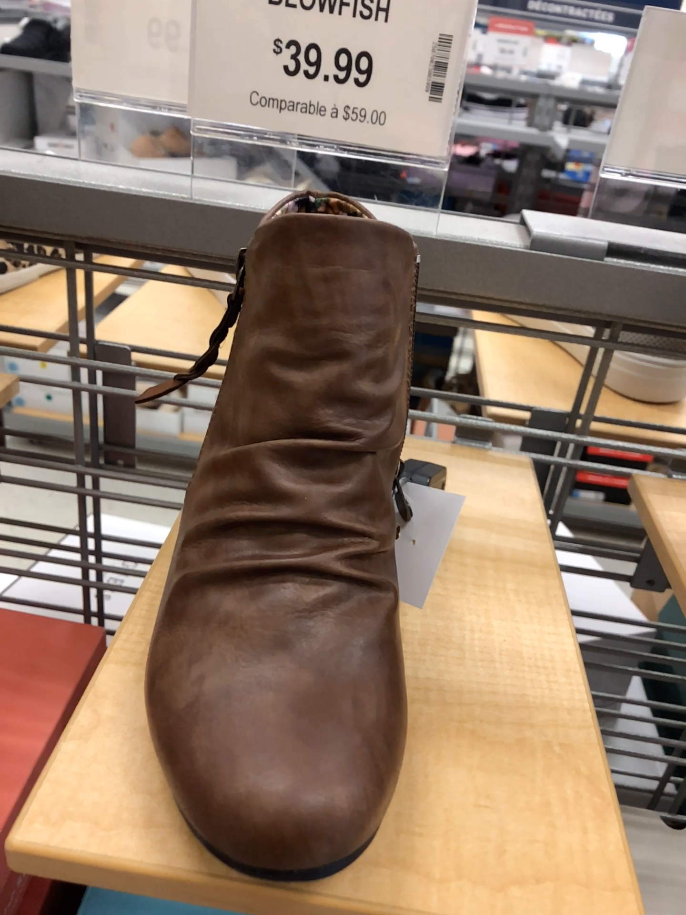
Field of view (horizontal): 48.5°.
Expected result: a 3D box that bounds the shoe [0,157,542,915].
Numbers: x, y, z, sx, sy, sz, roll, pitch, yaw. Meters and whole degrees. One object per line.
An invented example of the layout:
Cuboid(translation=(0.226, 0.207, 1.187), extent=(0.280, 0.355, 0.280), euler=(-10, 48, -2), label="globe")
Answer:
Cuboid(translation=(-0.020, -0.004, 0.256), extent=(0.090, 0.139, 0.232), euler=(7, 29, -3), label="shoe")
